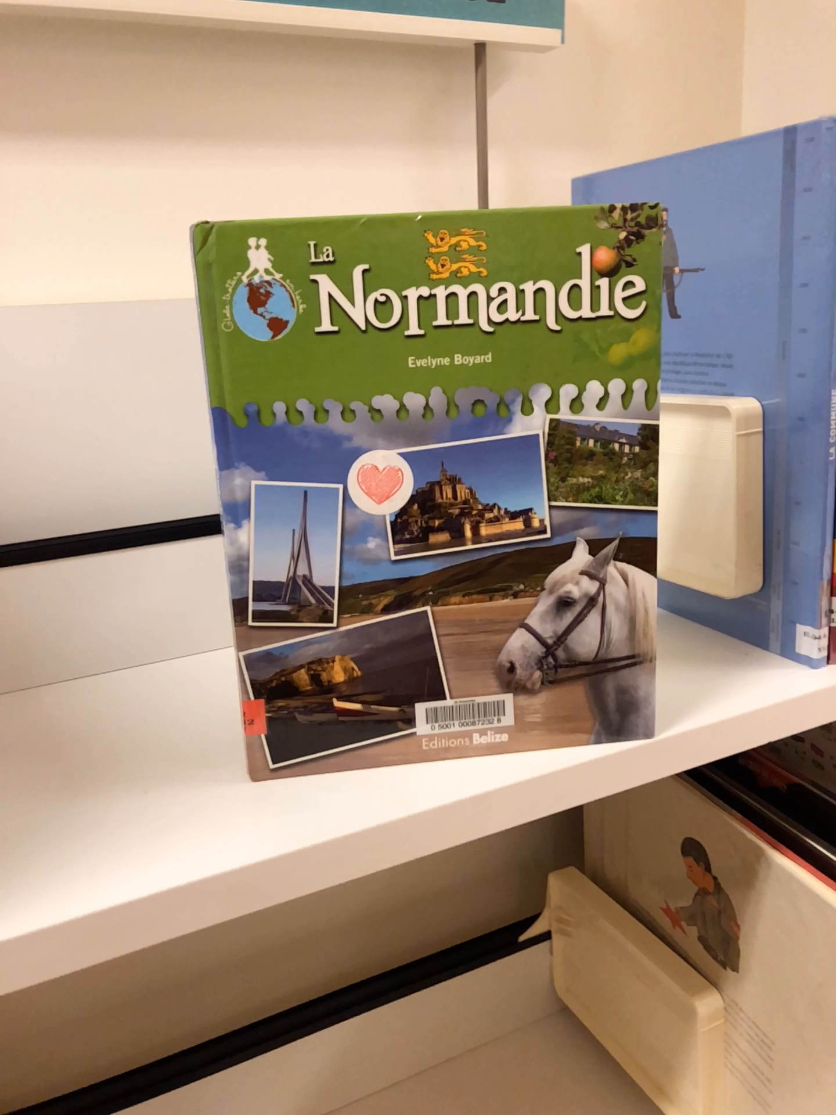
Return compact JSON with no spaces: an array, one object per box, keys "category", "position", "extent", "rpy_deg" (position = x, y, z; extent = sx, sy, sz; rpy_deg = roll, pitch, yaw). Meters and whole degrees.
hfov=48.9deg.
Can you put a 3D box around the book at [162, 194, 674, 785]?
[{"category":"book","position":[0.006,-0.031,0.439],"extent":[0.208,0.249,0.077],"rpy_deg":[-4,14,-2]}]
